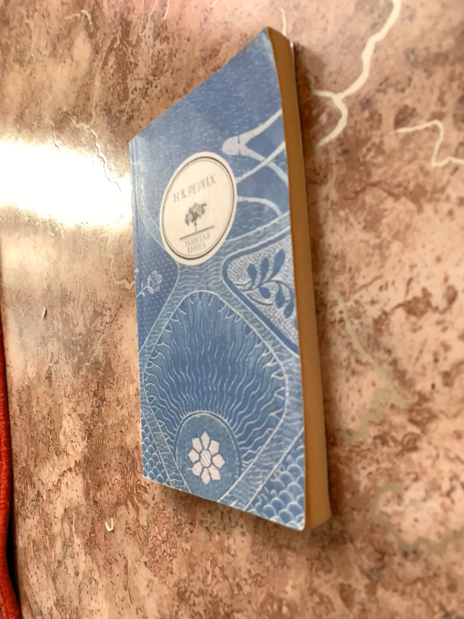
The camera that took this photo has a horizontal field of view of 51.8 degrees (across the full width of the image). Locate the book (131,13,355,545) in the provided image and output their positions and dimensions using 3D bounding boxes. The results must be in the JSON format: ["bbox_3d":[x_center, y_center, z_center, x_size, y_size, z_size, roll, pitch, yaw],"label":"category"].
[{"bbox_3d":[-0.007,-0.010,0.231,0.126,0.015,0.202,-10,81,48],"label":"book"}]
